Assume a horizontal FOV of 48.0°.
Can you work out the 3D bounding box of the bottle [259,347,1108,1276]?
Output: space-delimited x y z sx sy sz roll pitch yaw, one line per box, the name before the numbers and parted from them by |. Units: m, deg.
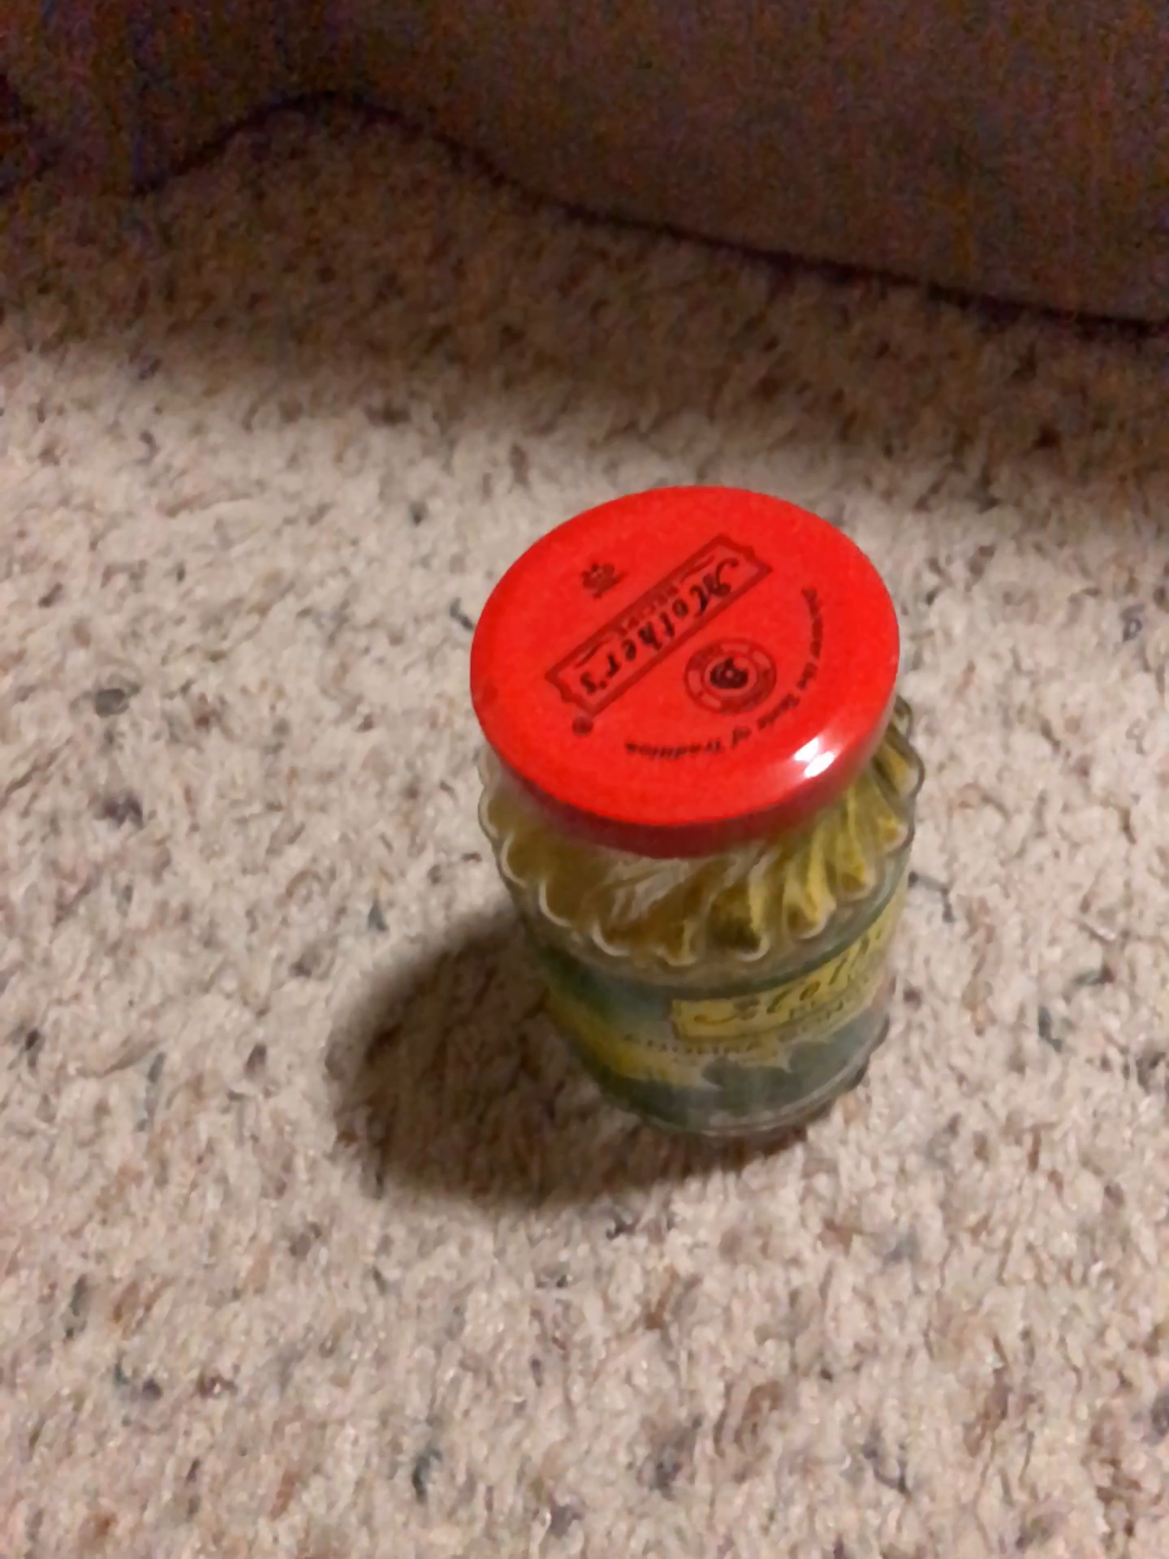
bottle | 0.015 0.012 0.199 0.070 0.110 0.070 -4 58 6
